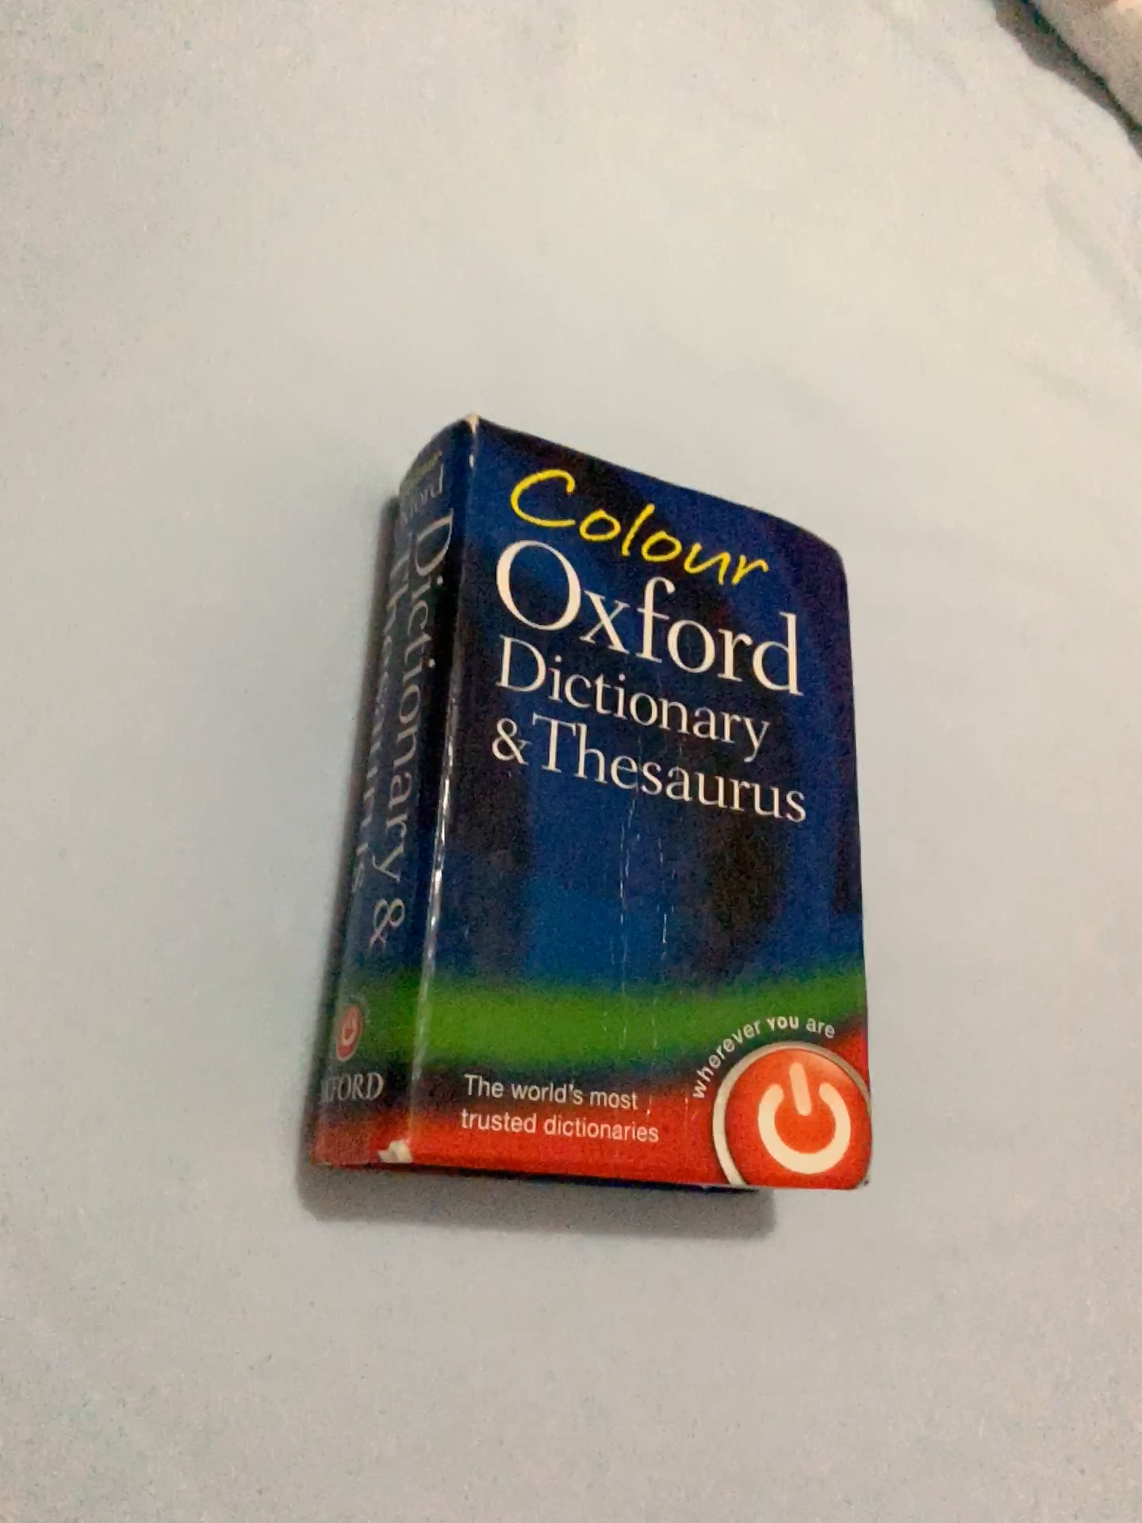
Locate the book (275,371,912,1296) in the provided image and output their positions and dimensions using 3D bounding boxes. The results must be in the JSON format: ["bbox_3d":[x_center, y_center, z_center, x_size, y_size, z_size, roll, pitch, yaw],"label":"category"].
[{"bbox_3d":[0.011,0.017,0.264,0.120,0.040,0.181,11,69,-19],"label":"book"}]
